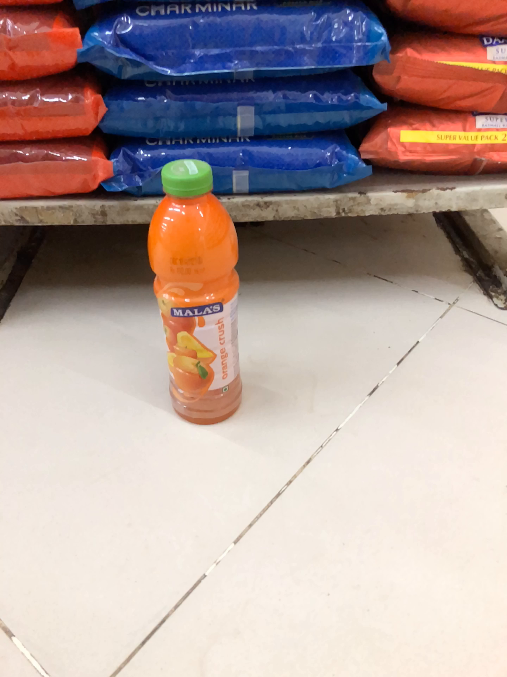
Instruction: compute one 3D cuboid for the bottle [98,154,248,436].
[{"bbox_3d":[-0.059,-0.031,0.505,0.090,0.238,0.091,-1,38,1],"label":"bottle"}]
